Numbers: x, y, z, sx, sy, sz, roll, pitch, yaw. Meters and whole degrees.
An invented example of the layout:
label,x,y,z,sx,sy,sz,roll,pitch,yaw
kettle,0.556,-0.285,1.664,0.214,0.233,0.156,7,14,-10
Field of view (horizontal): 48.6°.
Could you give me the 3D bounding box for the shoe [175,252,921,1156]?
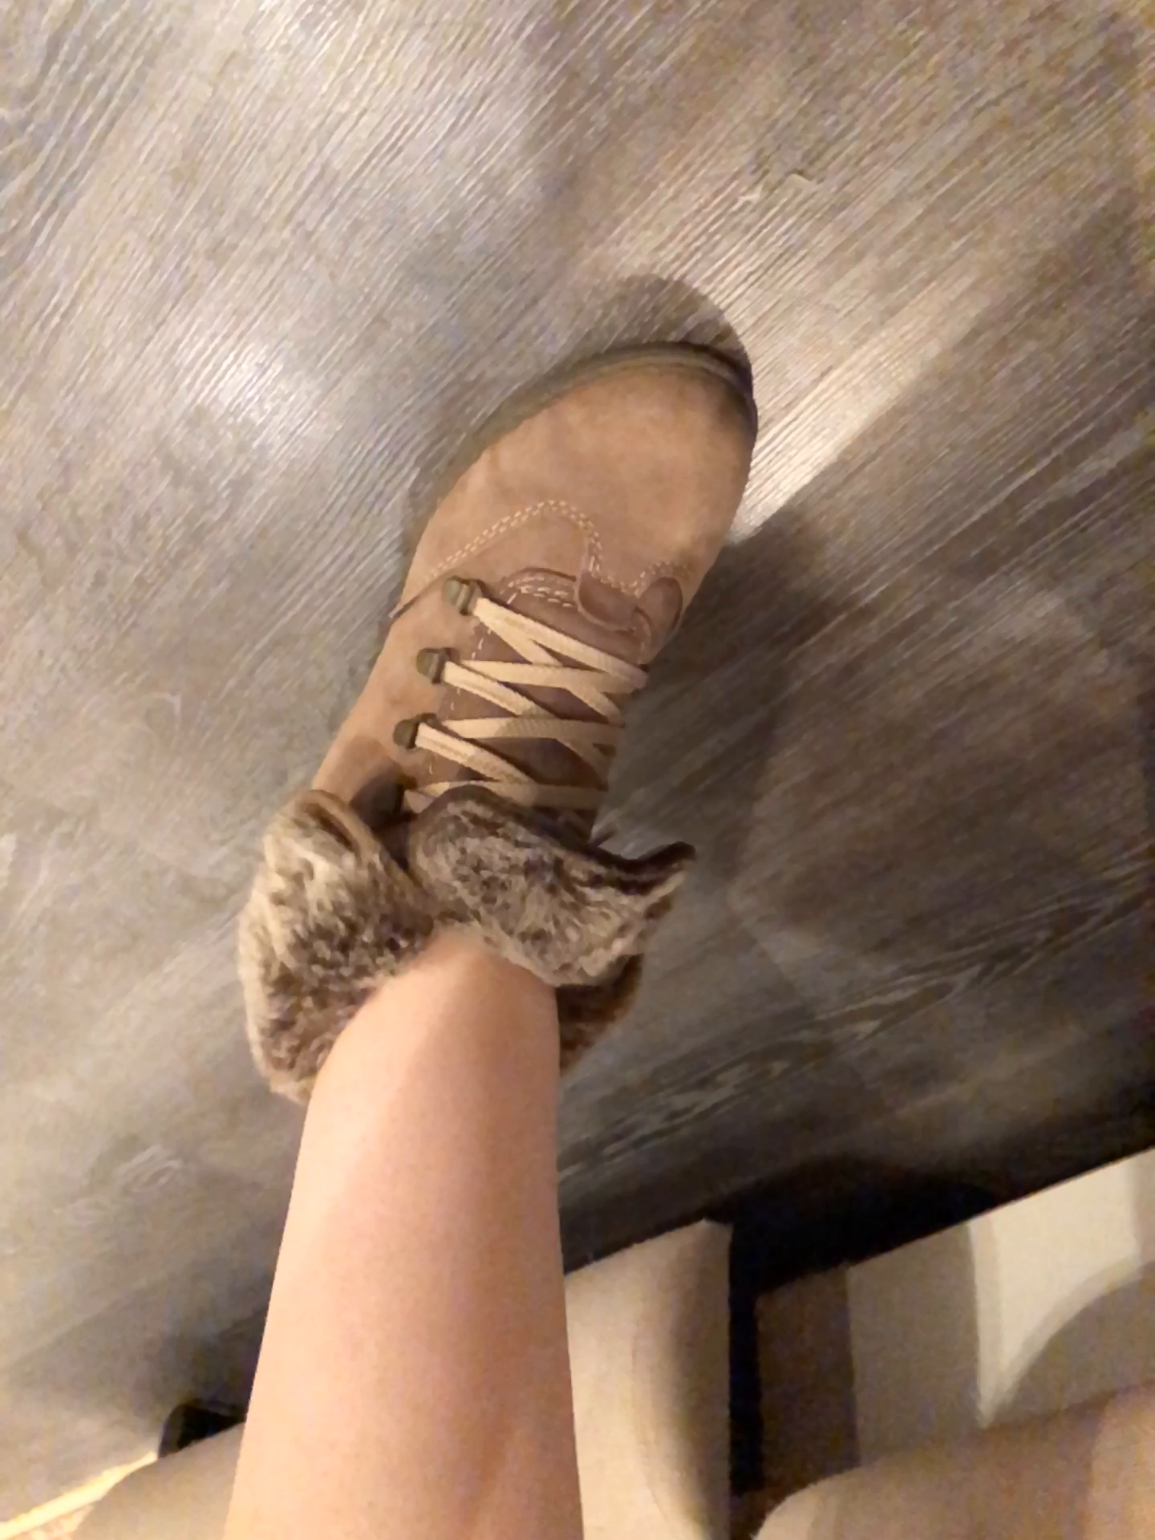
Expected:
label,x,y,z,sx,sy,sz,roll,pitch,yaw
shoe,-0.024,-0.005,0.430,0.120,0.149,0.251,22,134,-19
